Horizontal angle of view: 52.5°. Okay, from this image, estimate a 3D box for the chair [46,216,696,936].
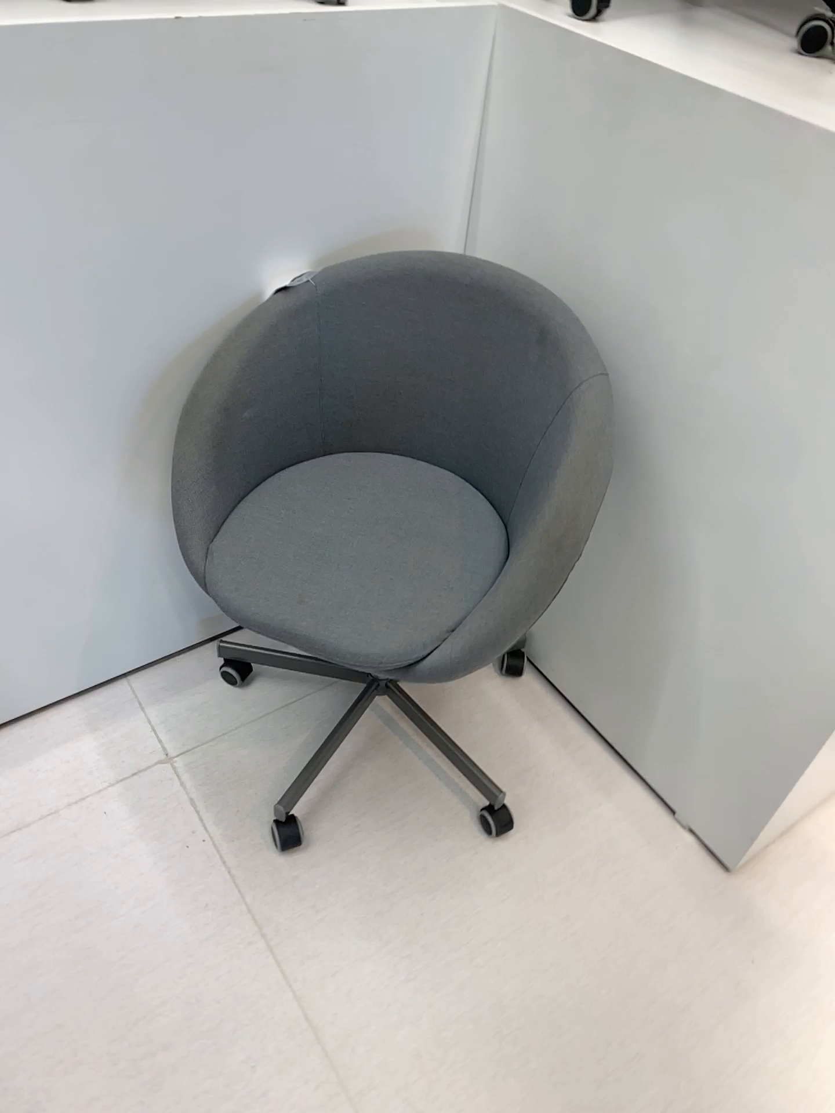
[{"bbox_3d":[-0.011,-0.006,1.504,0.720,0.767,0.833,16,43,9],"label":"chair"}]
